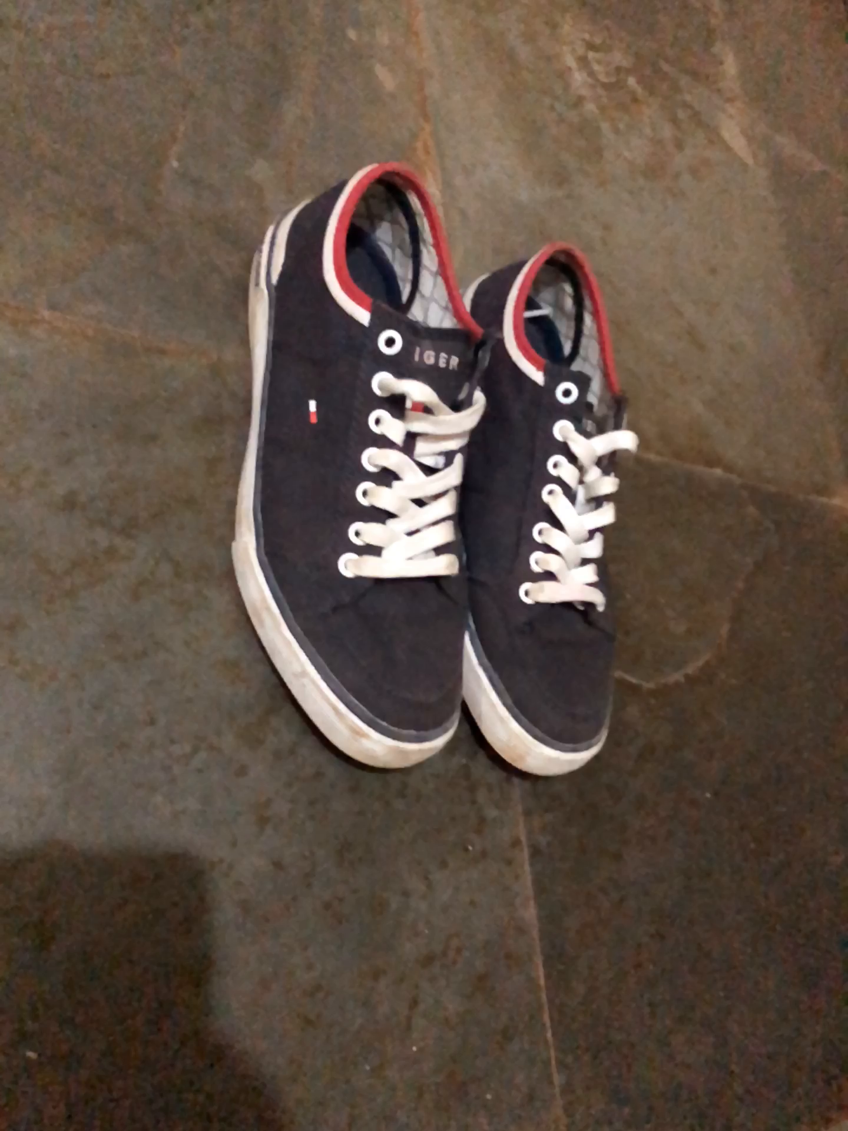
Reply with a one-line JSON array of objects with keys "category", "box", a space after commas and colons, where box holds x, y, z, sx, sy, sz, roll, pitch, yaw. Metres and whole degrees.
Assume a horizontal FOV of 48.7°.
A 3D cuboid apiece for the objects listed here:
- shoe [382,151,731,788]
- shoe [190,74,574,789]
[{"category": "shoe", "box": [0.059, -0.045, 0.490, 0.111, 0.099, 0.301, 11, 65, -35]}, {"category": "shoe", "box": [-0.029, -0.055, 0.430, 0.111, 0.099, 0.291, 7, 68, -36]}]
